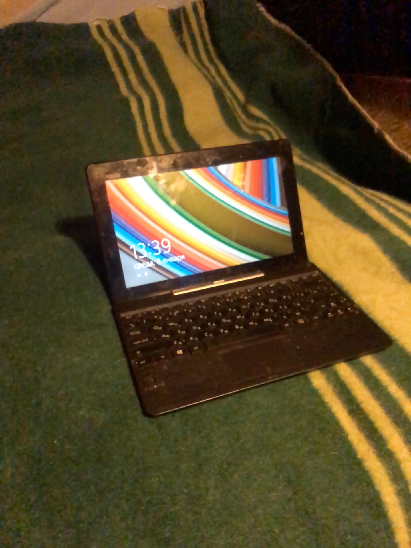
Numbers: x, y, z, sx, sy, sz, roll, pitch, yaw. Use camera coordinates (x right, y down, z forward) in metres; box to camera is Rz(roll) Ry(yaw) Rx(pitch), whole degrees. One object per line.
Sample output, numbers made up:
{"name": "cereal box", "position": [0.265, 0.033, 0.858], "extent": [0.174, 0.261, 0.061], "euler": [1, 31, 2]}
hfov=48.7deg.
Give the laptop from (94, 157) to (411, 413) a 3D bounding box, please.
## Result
{"name": "laptop", "position": [0.033, -0.015, 0.497], "extent": [0.257, 0.116, 0.258], "euler": [-12, 38, -17]}
